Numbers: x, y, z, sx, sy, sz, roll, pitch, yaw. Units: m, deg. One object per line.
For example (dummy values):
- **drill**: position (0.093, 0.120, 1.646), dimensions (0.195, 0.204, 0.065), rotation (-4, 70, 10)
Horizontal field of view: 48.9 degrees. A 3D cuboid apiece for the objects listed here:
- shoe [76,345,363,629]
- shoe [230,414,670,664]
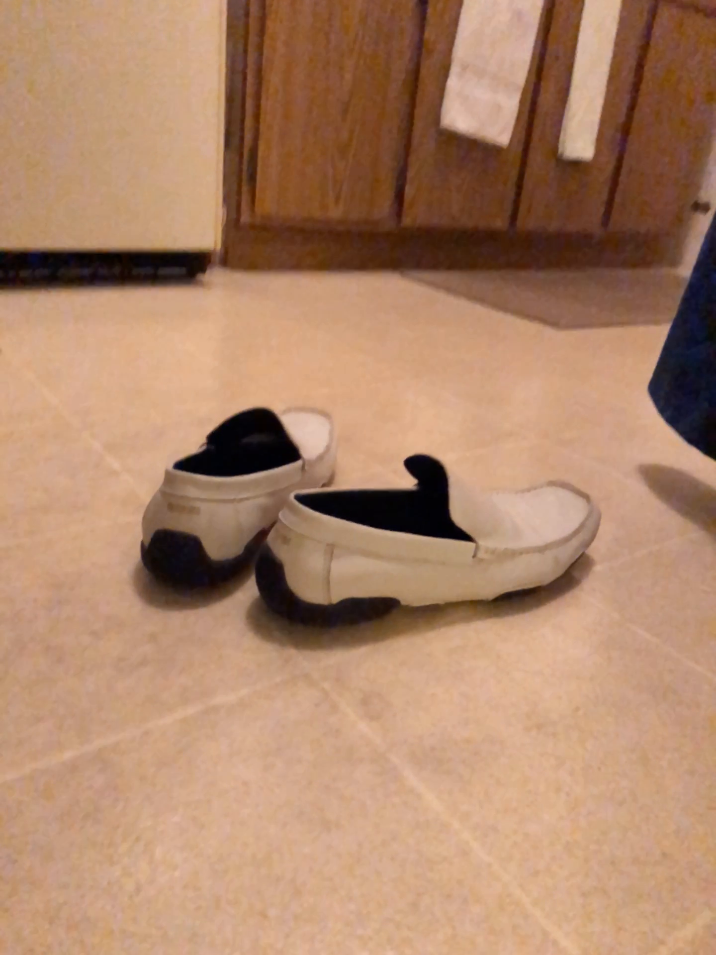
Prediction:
- **shoe**: position (-0.088, -0.016, 0.626), dimensions (0.110, 0.097, 0.308), rotation (10, 24, 10)
- **shoe**: position (0.067, 0.029, 0.561), dimensions (0.290, 0.097, 0.111), rotation (-7, 27, -28)
